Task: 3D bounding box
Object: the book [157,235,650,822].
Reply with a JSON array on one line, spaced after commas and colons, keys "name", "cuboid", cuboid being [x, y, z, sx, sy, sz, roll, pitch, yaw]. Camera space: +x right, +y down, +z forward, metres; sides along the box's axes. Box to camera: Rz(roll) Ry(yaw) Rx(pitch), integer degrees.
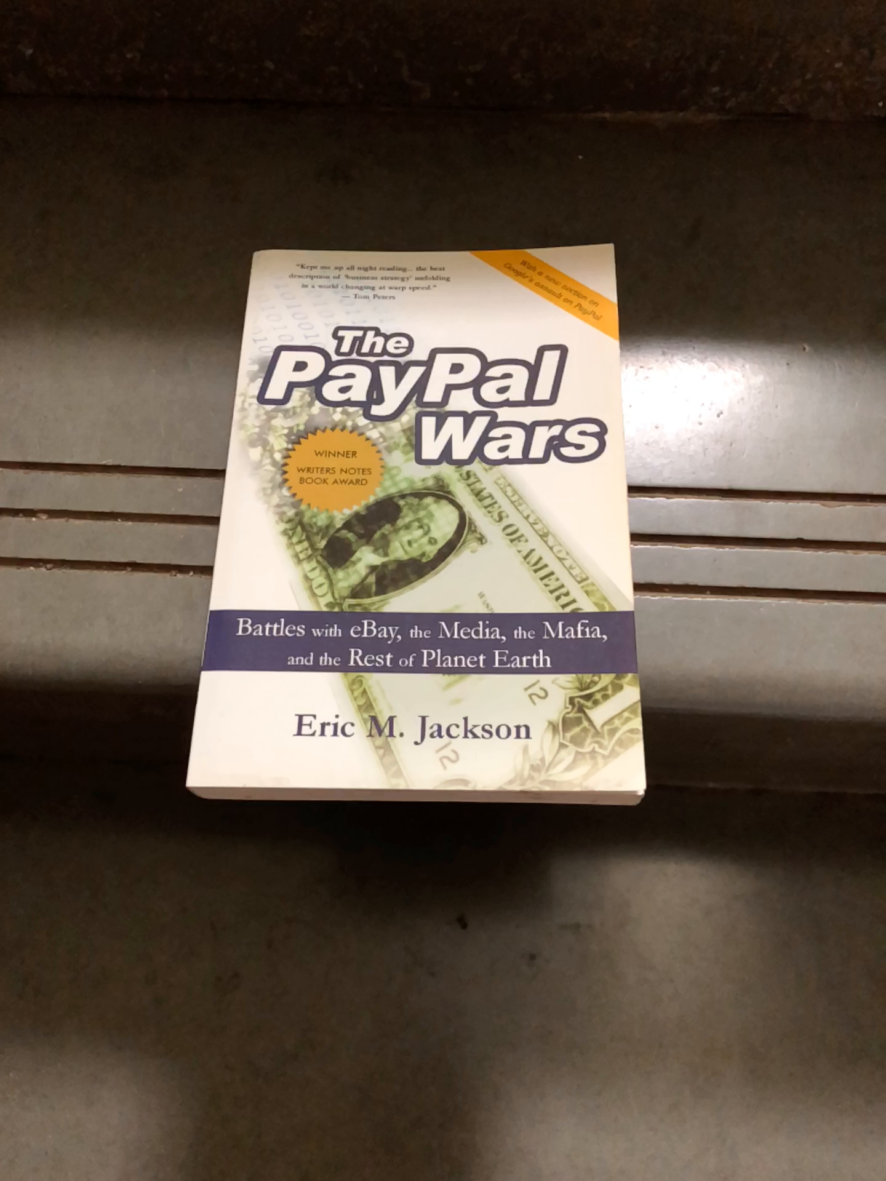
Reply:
[{"name": "book", "cuboid": [-0.011, -0.031, 0.357, 0.150, 0.030, 0.220, 0, 67, 2]}]
